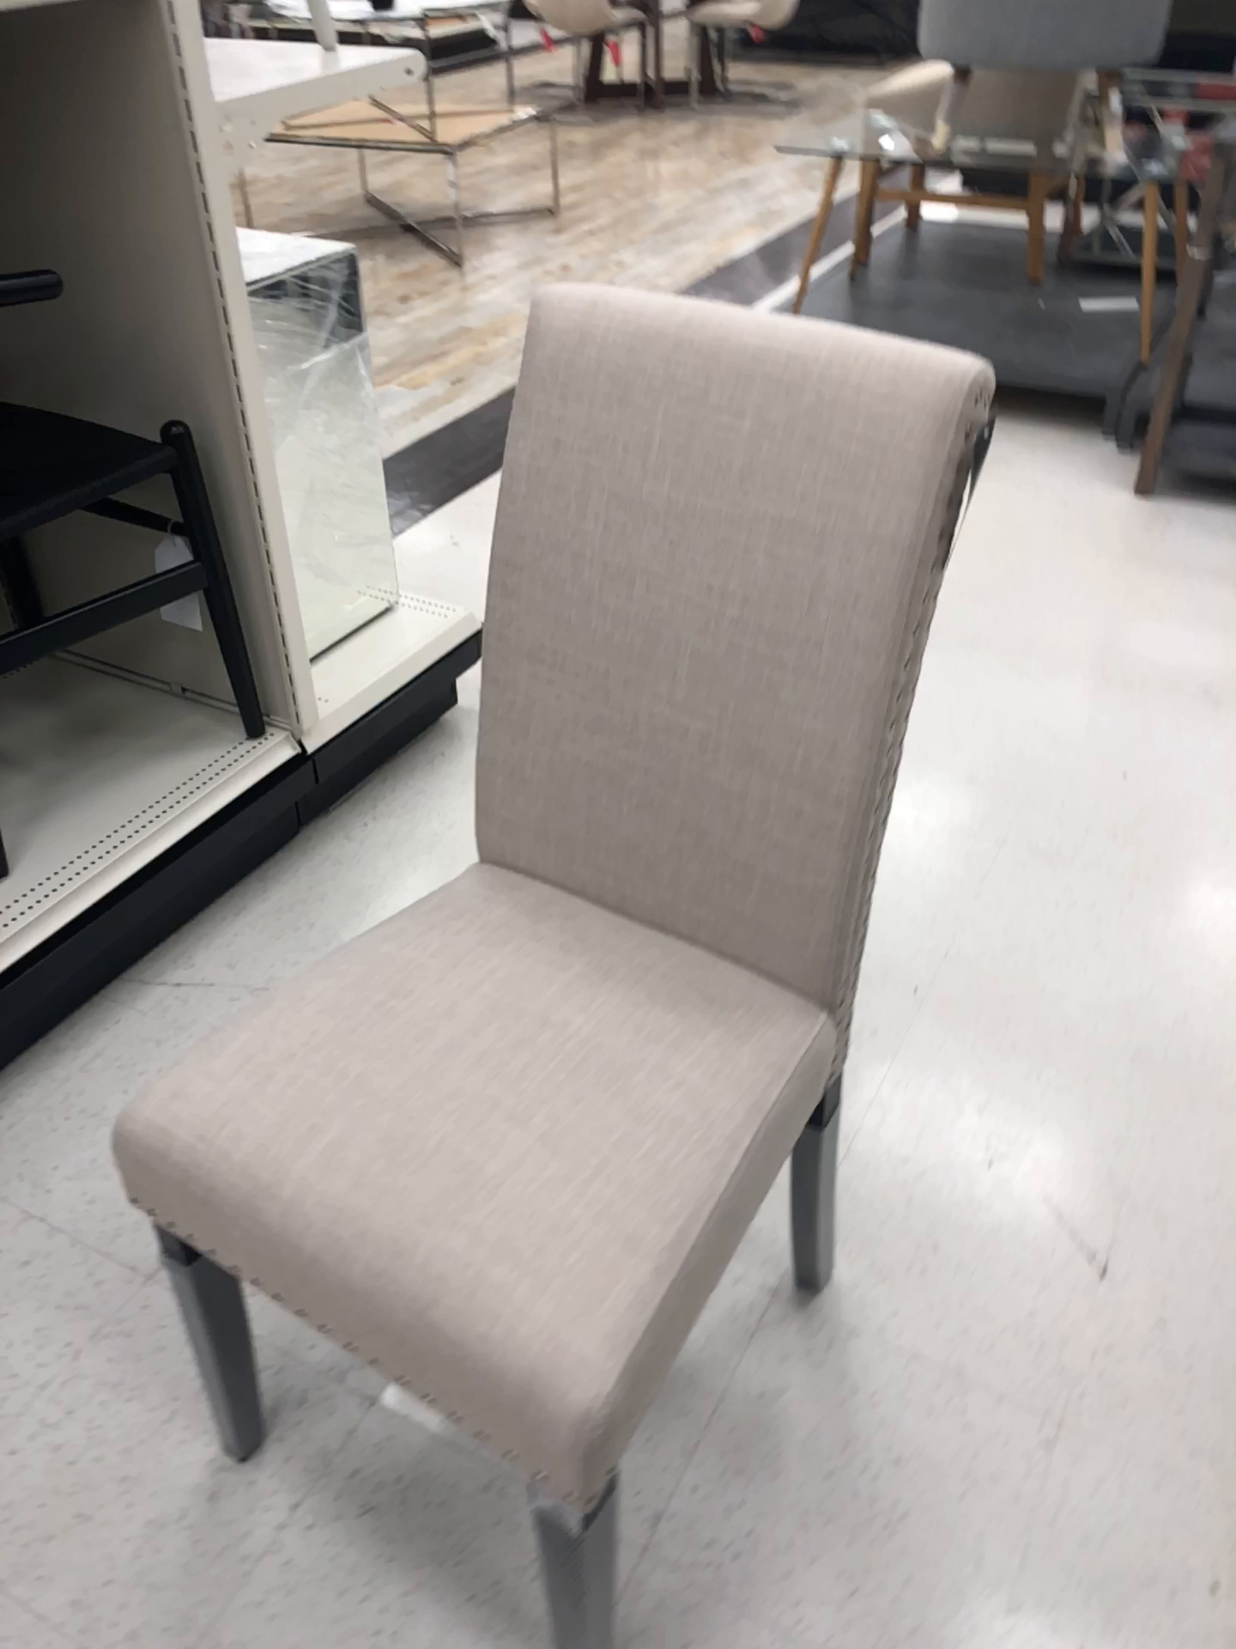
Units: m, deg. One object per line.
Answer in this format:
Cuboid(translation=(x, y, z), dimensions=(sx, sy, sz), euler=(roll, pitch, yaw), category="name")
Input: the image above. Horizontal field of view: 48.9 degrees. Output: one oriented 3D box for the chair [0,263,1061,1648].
Cuboid(translation=(-0.057, 0.155, 1.127), dimensions=(0.487, 1.006, 0.558), euler=(21, 41, 28), category="chair")
